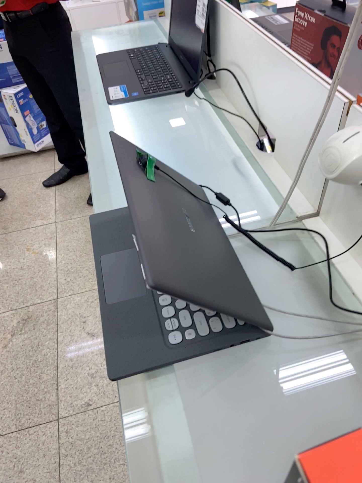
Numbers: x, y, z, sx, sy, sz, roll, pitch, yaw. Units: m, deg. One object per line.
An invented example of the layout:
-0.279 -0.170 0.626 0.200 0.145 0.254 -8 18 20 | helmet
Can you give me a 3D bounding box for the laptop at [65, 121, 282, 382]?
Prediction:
-0.031 -0.009 0.525 0.207 0.153 0.313 -14 45 -7 | laptop
